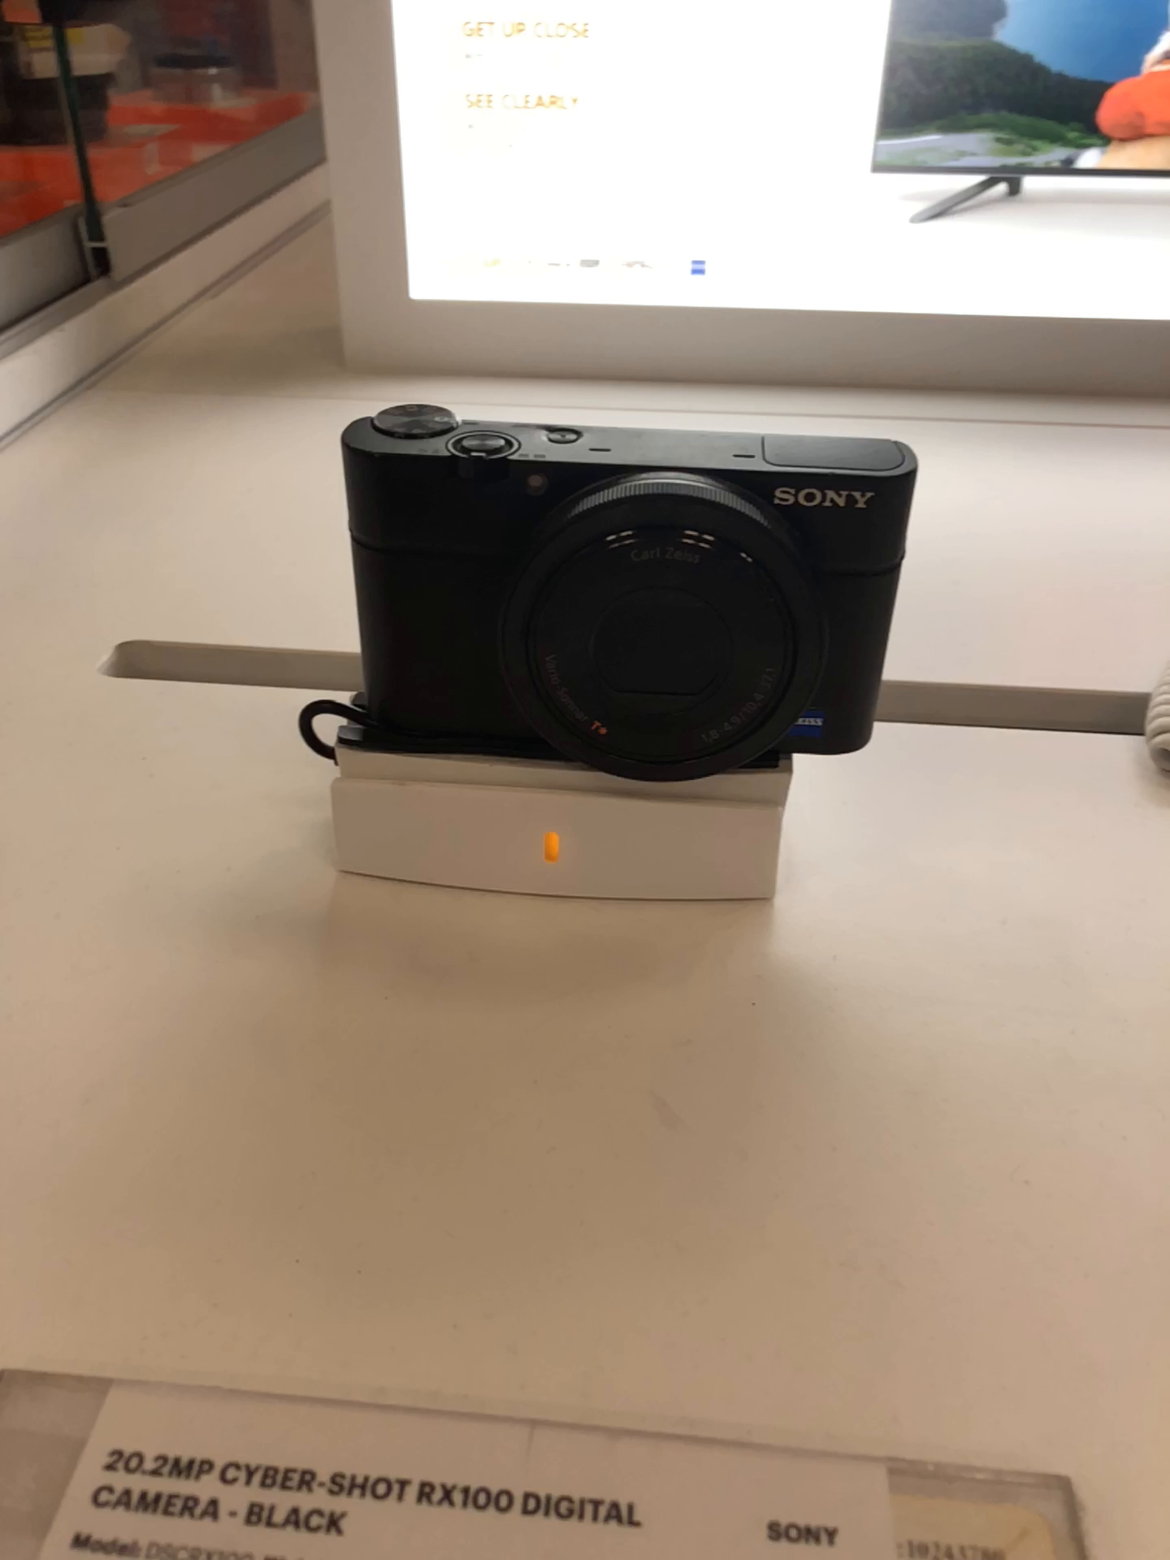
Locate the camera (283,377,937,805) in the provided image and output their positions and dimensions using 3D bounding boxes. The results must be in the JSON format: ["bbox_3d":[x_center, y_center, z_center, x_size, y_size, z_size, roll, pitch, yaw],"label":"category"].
[{"bbox_3d":[0.004,-0.036,0.250,0.110,0.070,0.030,3,33,5],"label":"camera"}]
